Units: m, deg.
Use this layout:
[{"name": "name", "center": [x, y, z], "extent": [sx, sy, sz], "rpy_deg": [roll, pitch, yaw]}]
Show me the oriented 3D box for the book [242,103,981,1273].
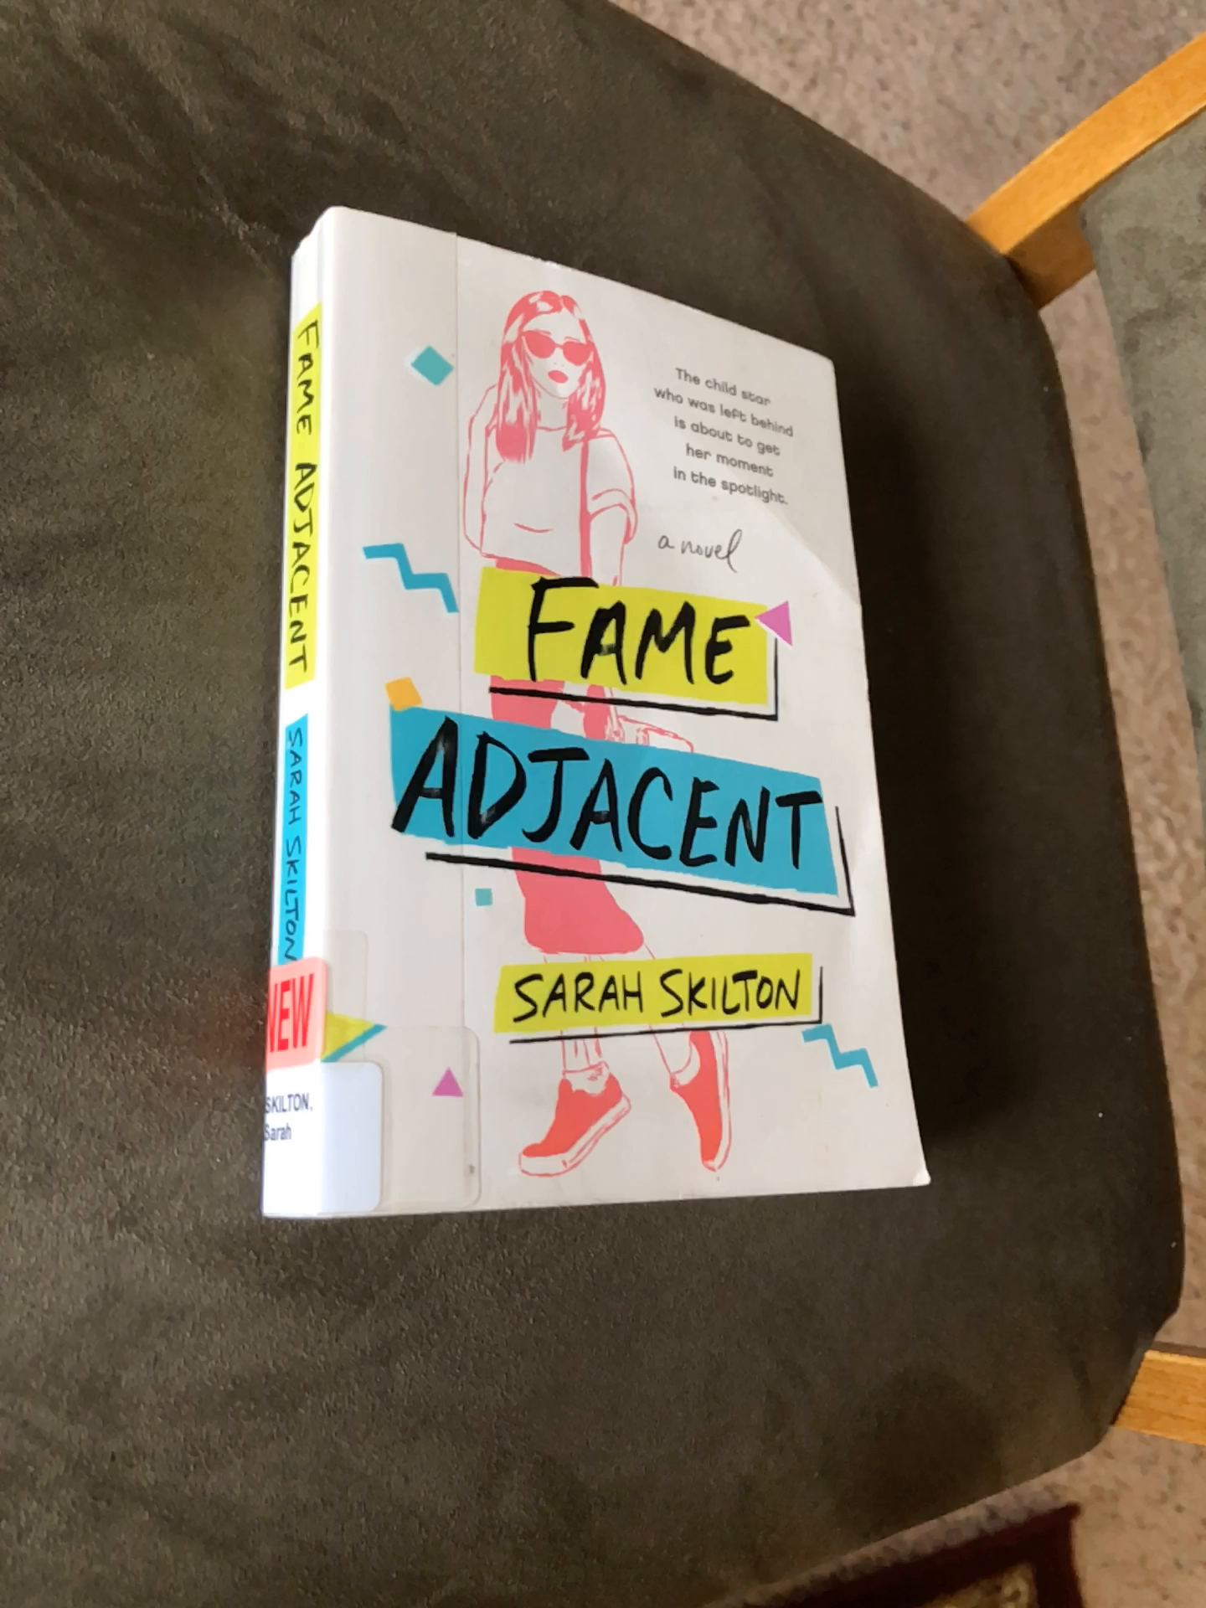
[{"name": "book", "center": [0.002, -0.021, 0.287], "extent": [0.141, 0.040, 0.220], "rpy_deg": [6, 73, -28]}]
